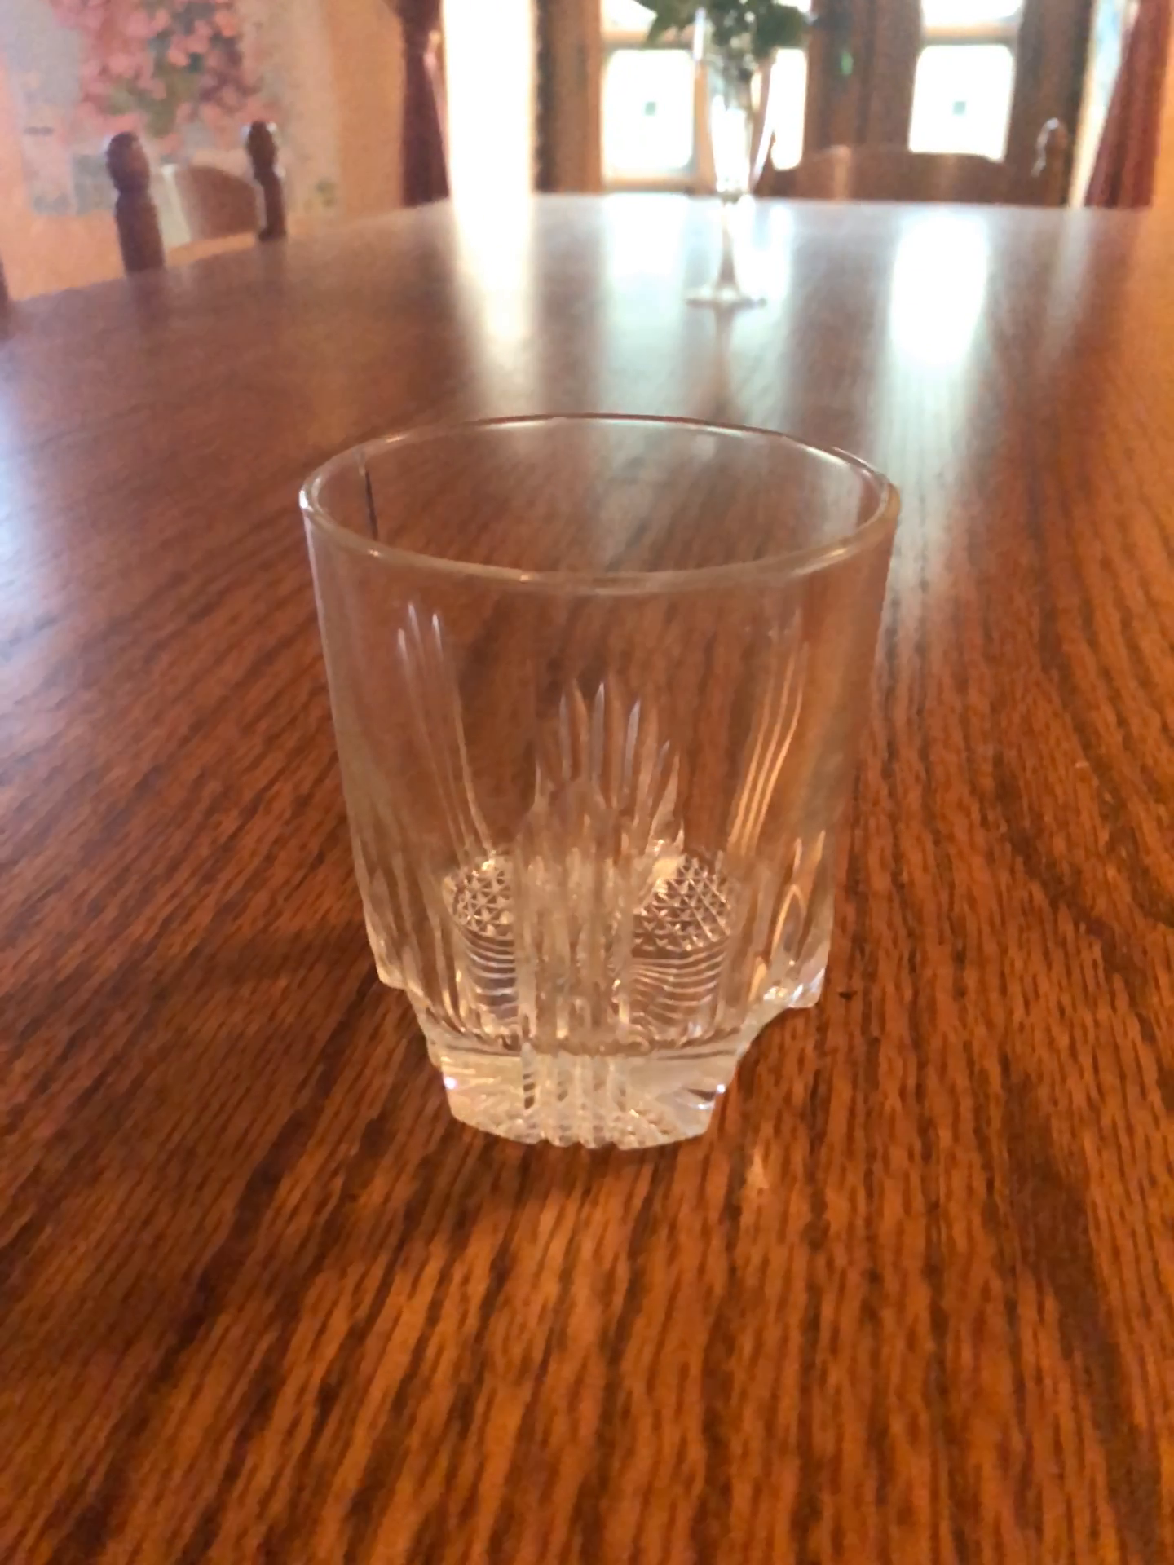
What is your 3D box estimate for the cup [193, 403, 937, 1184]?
[{"bbox_3d":[0.001,-0.005,0.196,0.080,0.084,0.085,0,27,0],"label":"cup"}]
